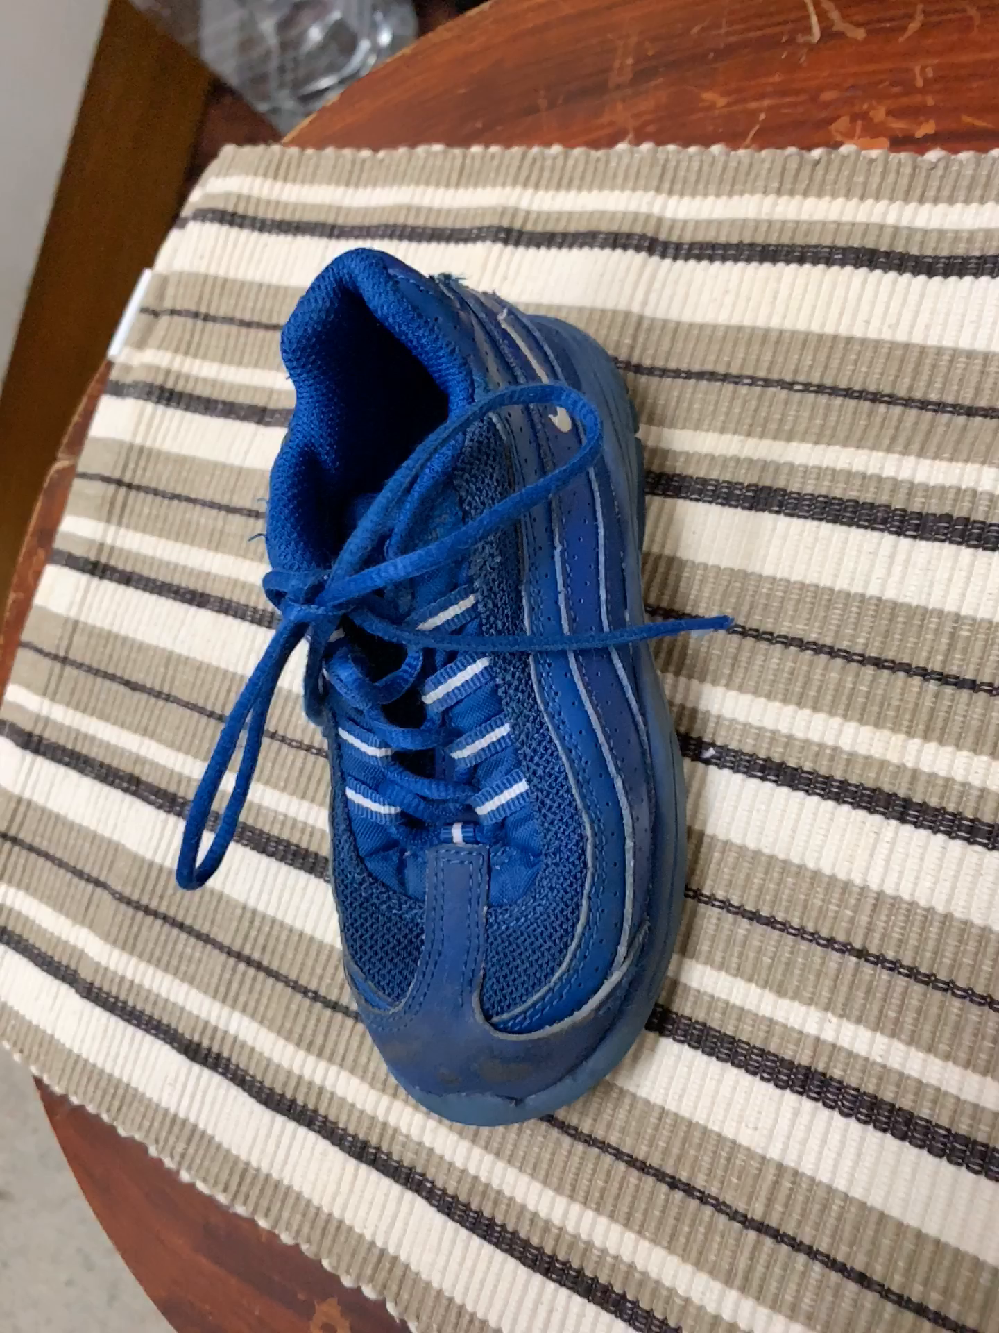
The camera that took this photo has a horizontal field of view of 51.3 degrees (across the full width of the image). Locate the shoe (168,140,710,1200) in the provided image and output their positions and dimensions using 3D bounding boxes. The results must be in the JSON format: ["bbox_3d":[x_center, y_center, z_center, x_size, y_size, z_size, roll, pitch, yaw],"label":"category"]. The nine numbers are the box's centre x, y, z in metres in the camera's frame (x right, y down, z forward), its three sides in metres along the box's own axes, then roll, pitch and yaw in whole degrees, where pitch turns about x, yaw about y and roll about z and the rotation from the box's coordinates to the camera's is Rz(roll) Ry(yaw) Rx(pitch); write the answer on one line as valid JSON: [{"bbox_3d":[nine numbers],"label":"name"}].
[{"bbox_3d":[-0.004,0.001,0.221,0.073,0.079,0.175,-2,78,27],"label":"shoe"}]
